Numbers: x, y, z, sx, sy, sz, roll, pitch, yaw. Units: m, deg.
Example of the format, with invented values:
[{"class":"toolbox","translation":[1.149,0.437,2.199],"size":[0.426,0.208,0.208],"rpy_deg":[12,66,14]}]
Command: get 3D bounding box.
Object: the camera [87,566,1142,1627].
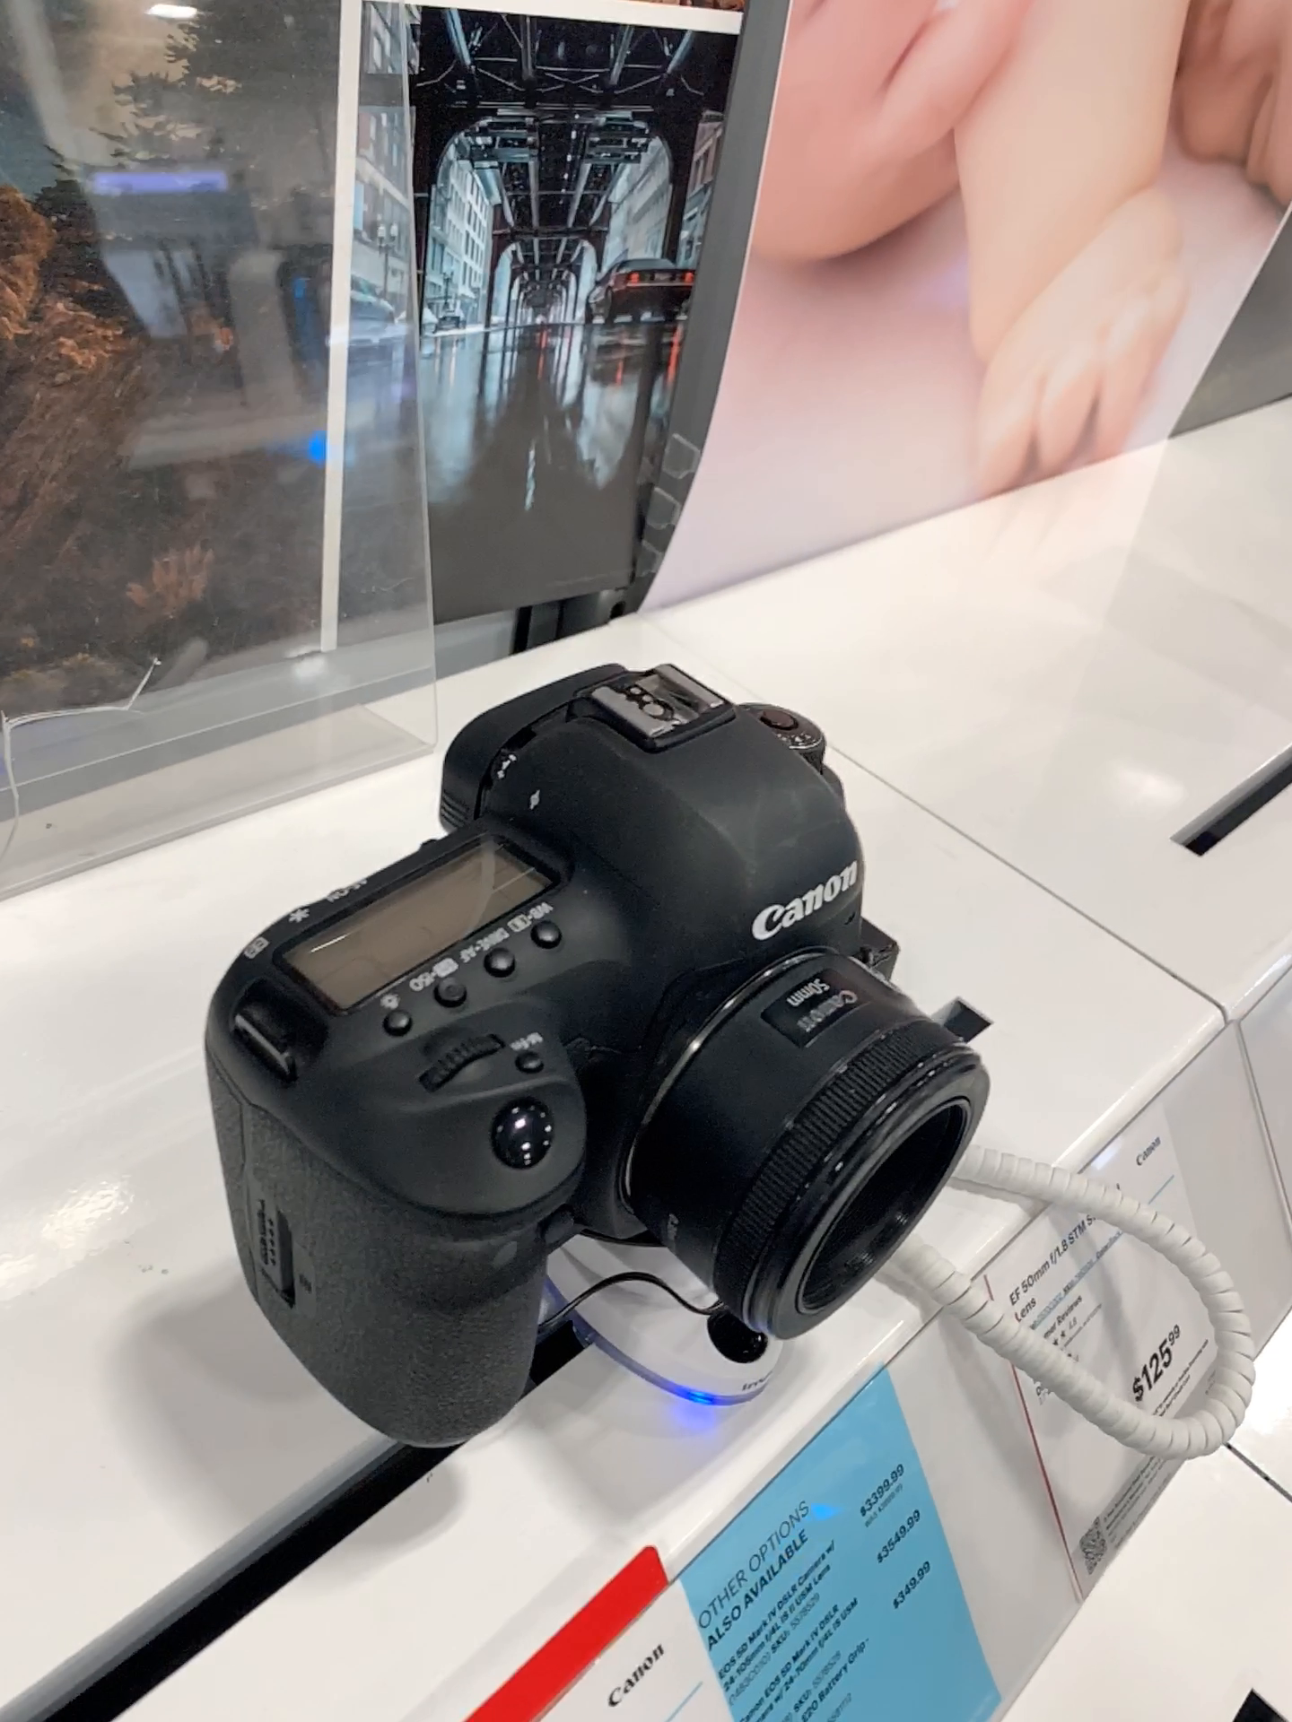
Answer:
[{"class":"camera","translation":[-0.008,0.031,0.256],"size":[0.140,0.106,0.112],"rpy_deg":[-26,53,-38]}]
